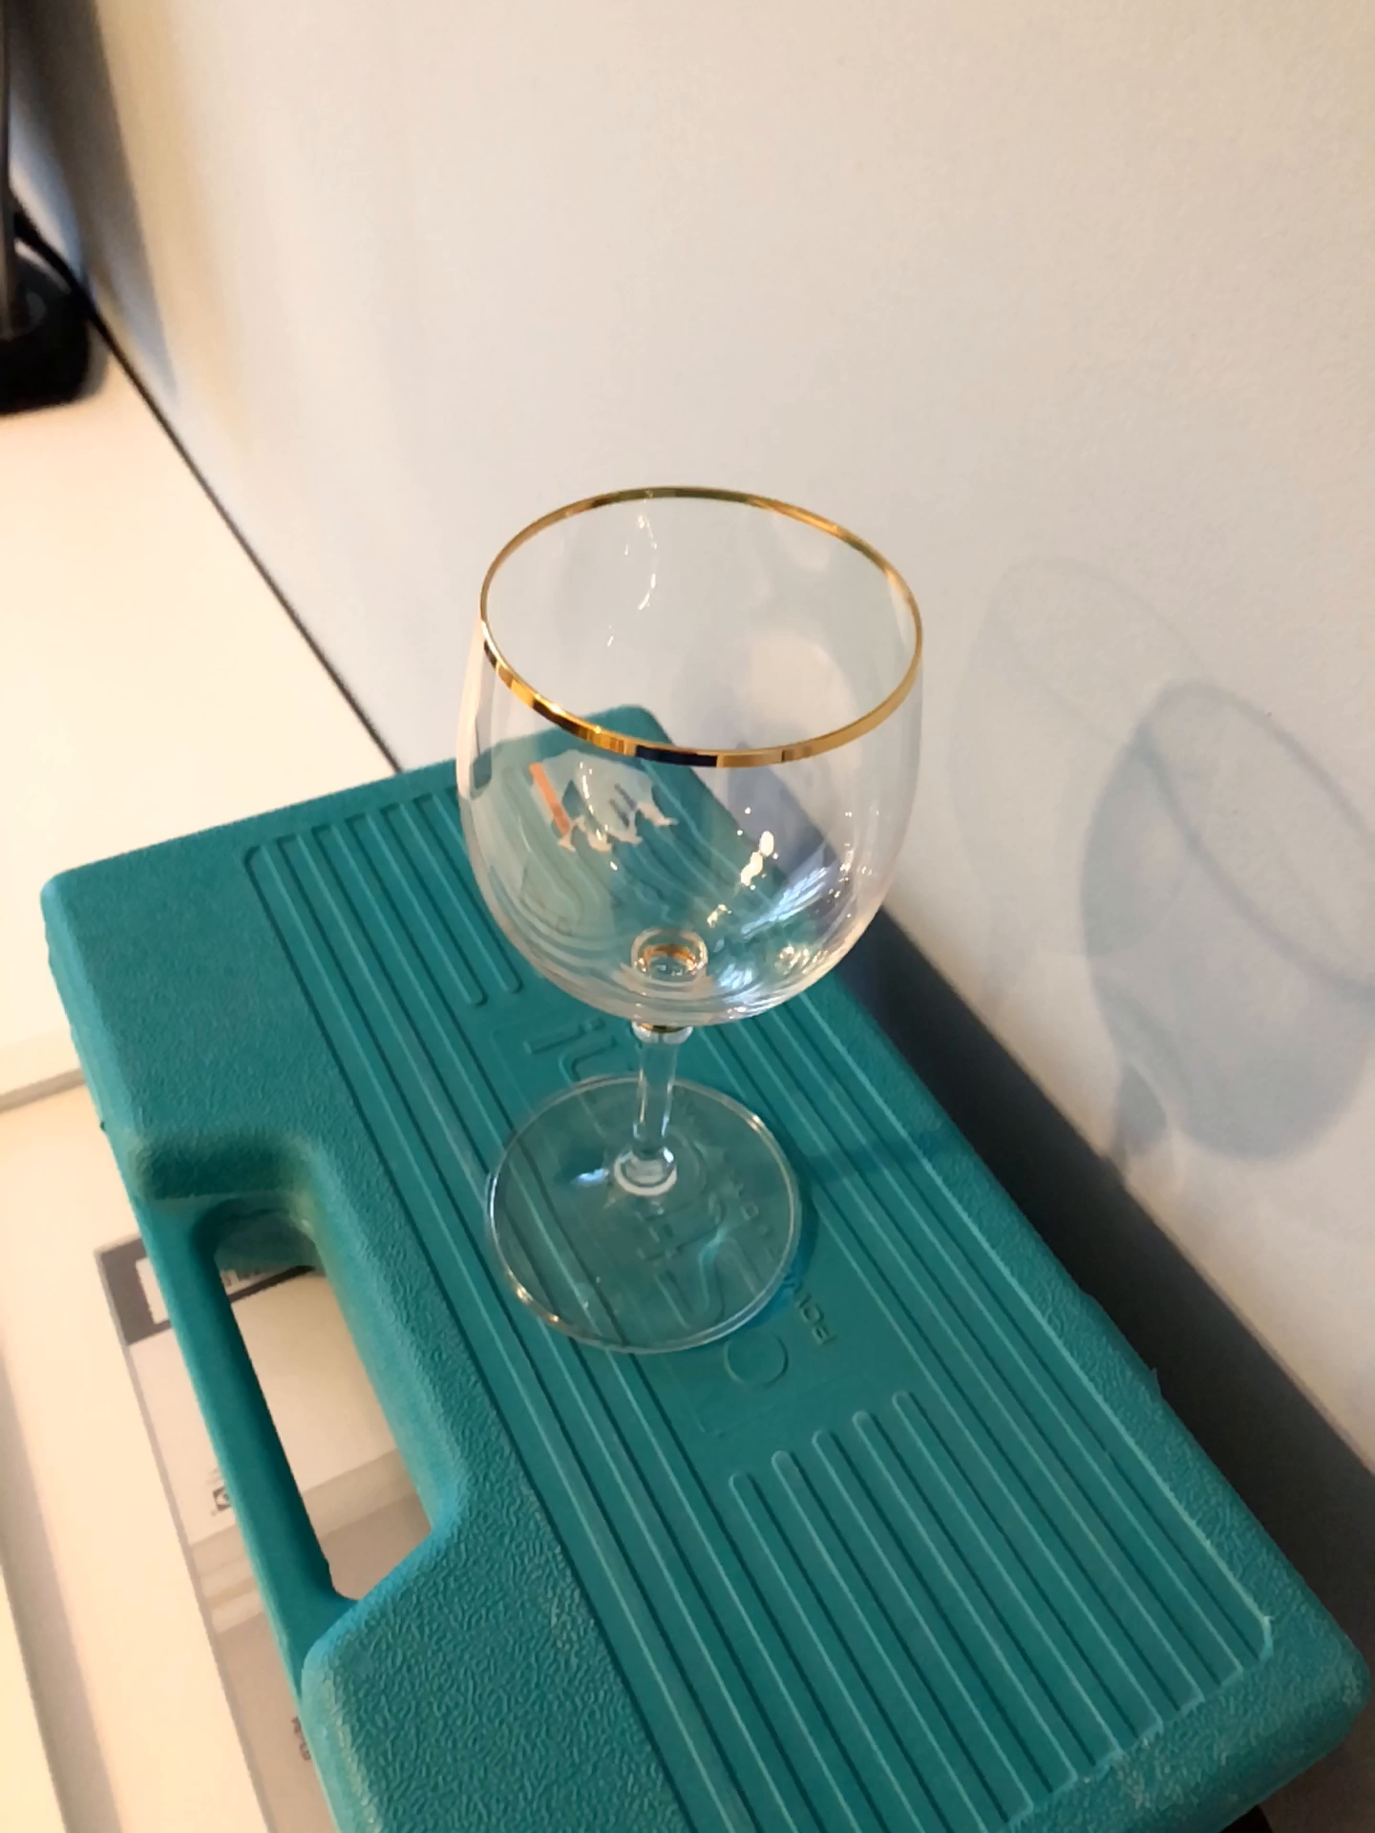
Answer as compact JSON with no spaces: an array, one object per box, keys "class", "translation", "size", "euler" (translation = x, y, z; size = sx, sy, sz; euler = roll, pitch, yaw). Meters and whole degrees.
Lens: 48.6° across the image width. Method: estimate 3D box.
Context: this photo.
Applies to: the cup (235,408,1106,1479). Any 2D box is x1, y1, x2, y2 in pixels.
[{"class":"cup","translation":[-0.011,0.009,0.290],"size":[0.100,0.159,0.101],"euler":[2,47,-2]}]
